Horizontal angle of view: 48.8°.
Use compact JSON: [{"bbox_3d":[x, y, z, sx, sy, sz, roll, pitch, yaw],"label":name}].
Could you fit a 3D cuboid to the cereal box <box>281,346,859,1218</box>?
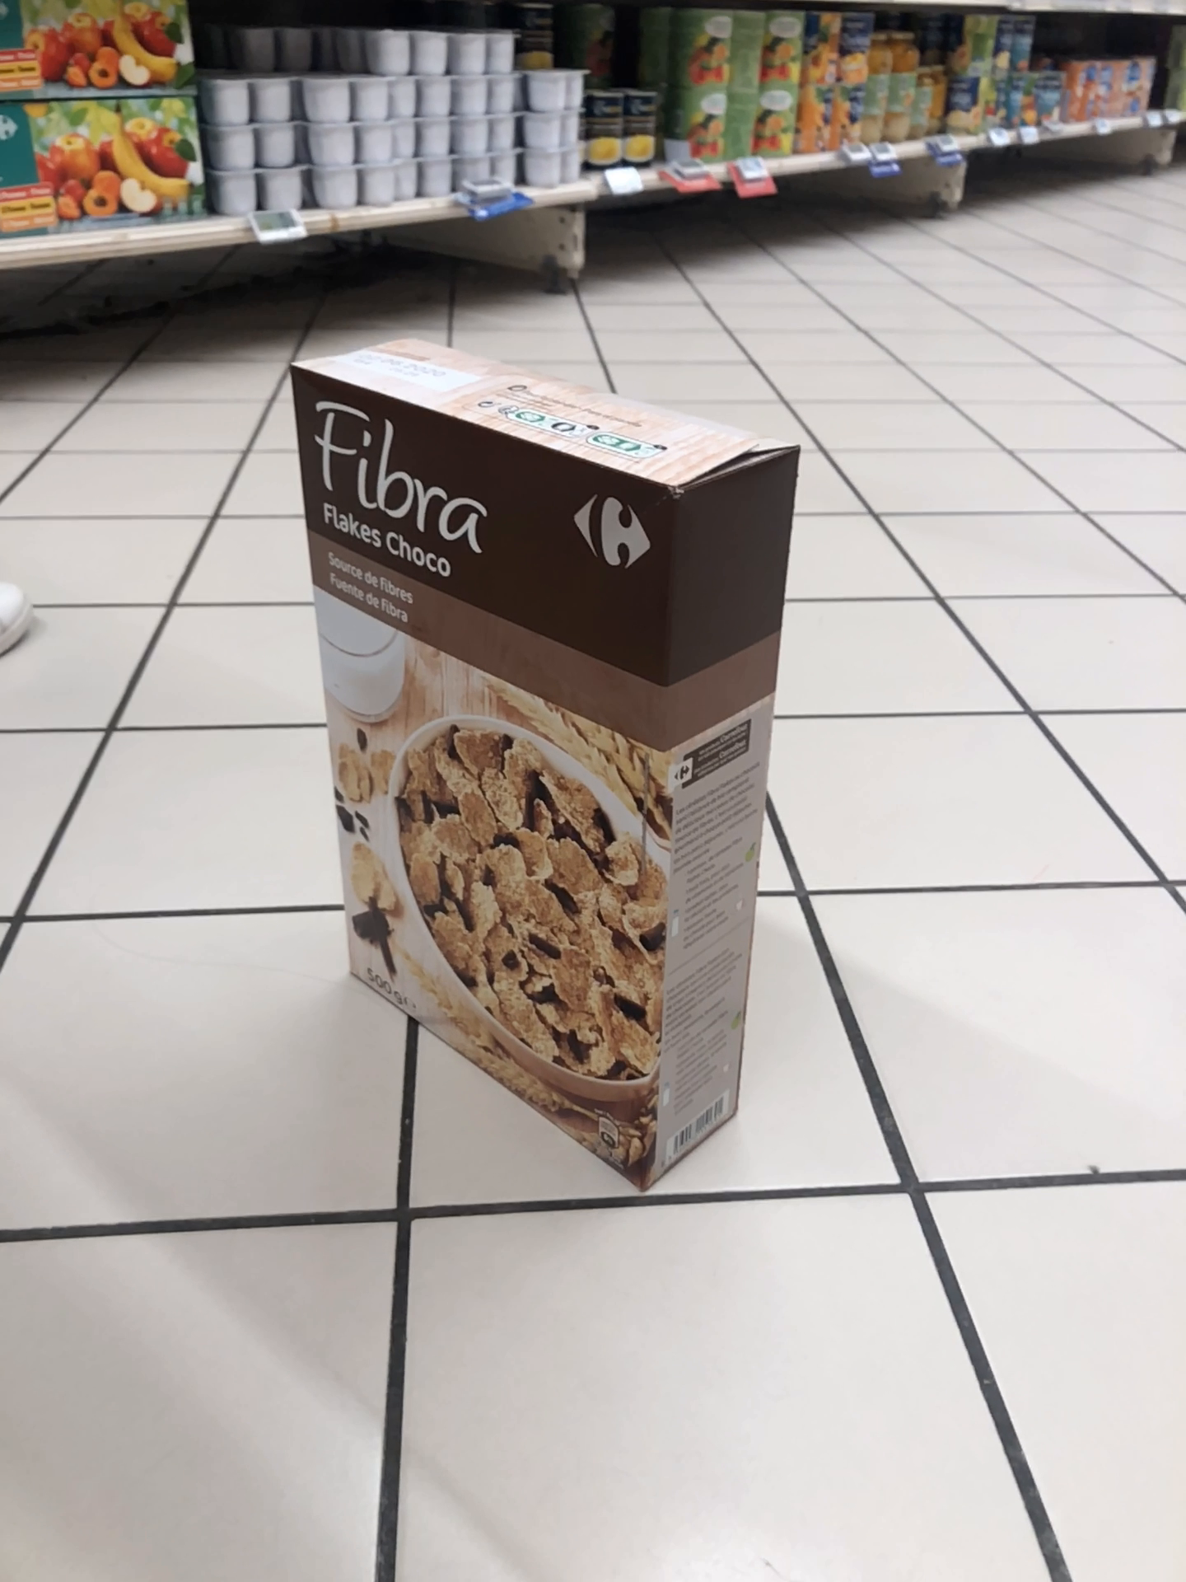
[{"bbox_3d":[-0.017,-0.007,0.506,0.200,0.278,0.070,26,39,36],"label":"cereal box"}]
